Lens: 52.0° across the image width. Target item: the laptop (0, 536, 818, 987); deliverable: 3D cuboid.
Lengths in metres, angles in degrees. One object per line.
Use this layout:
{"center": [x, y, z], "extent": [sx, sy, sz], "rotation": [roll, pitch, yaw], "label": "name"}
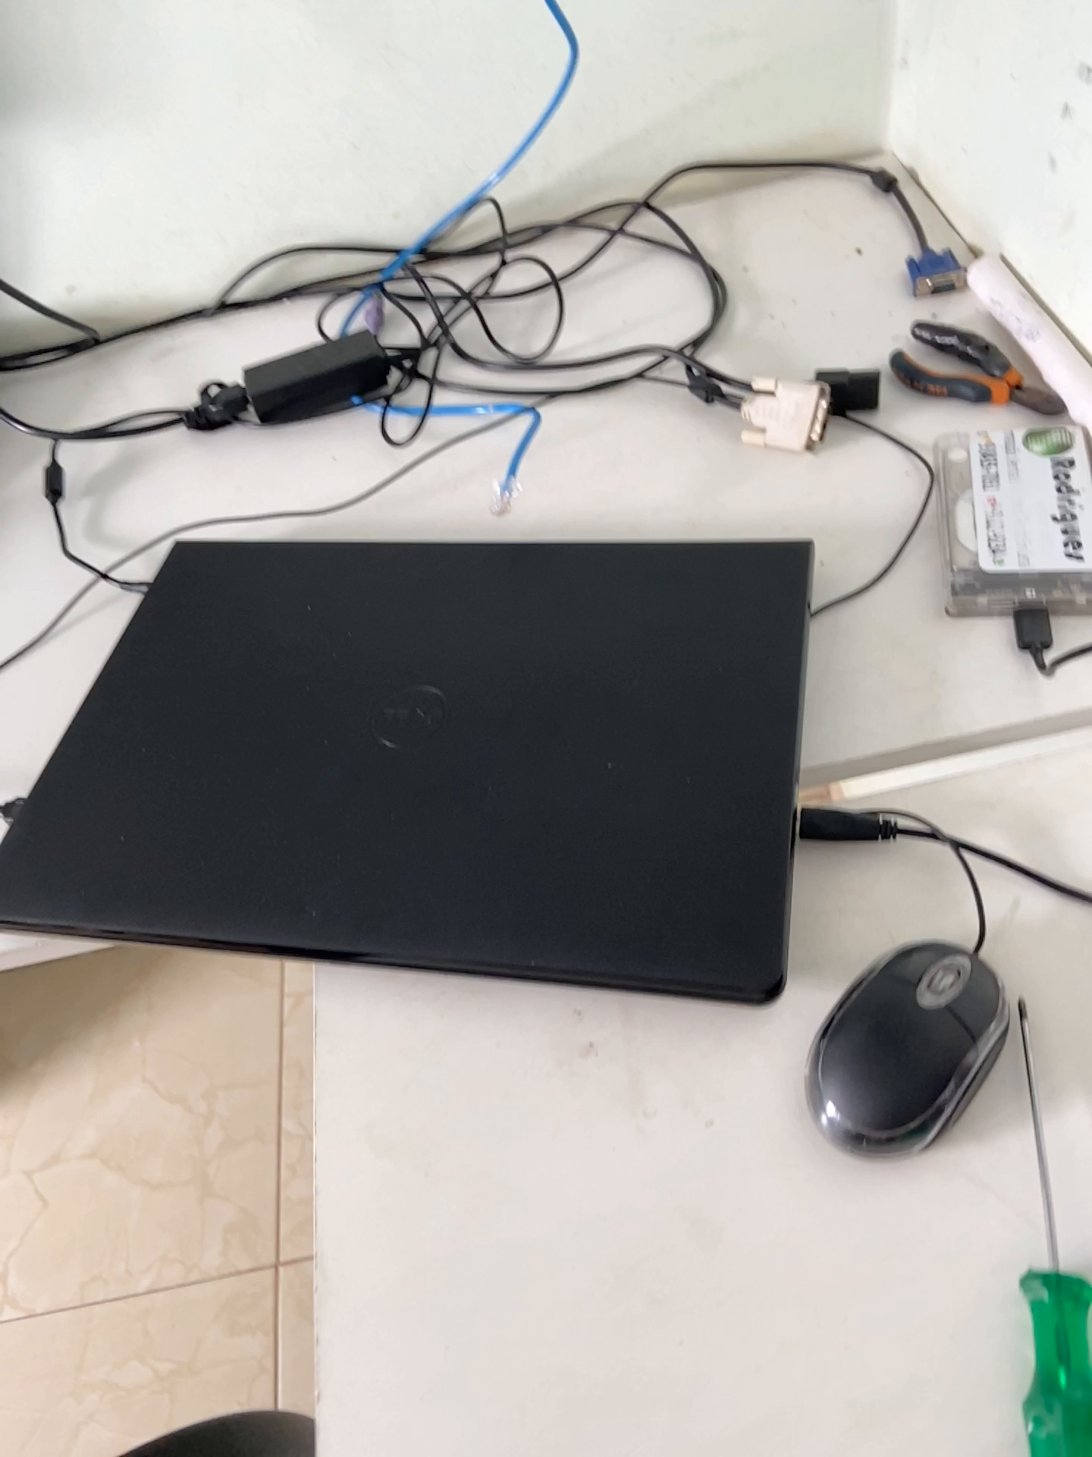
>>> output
{"center": [-0.065, -0.008, 0.557], "extent": [0.375, 0.003, 0.261], "rotation": [3, 51, 14], "label": "laptop"}
